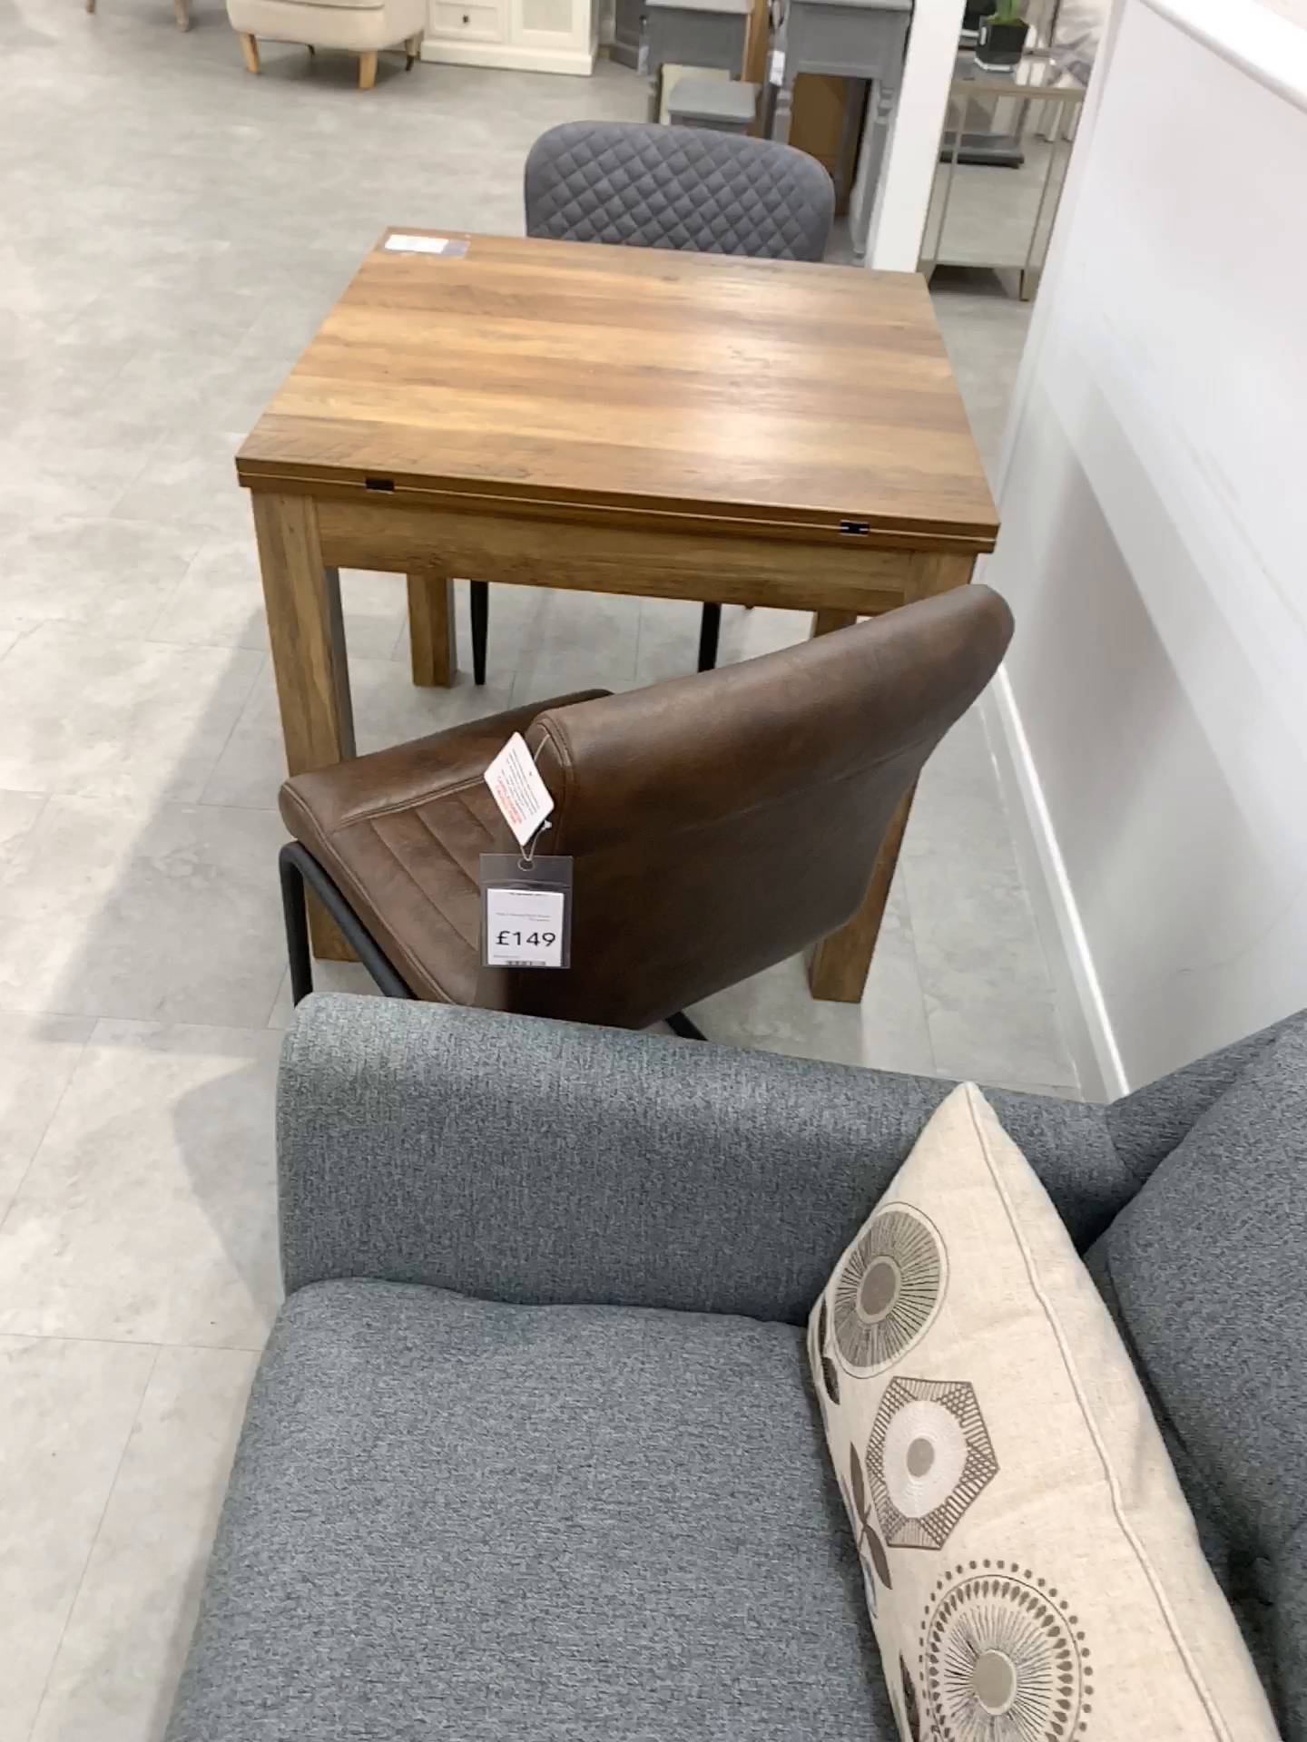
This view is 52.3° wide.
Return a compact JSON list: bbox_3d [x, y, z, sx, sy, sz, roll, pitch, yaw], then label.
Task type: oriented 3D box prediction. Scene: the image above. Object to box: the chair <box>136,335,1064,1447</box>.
[{"bbox_3d":[-0.098,-0.003,1.329,0.499,0.773,0.636,-20,47,-26],"label":"chair"}]
